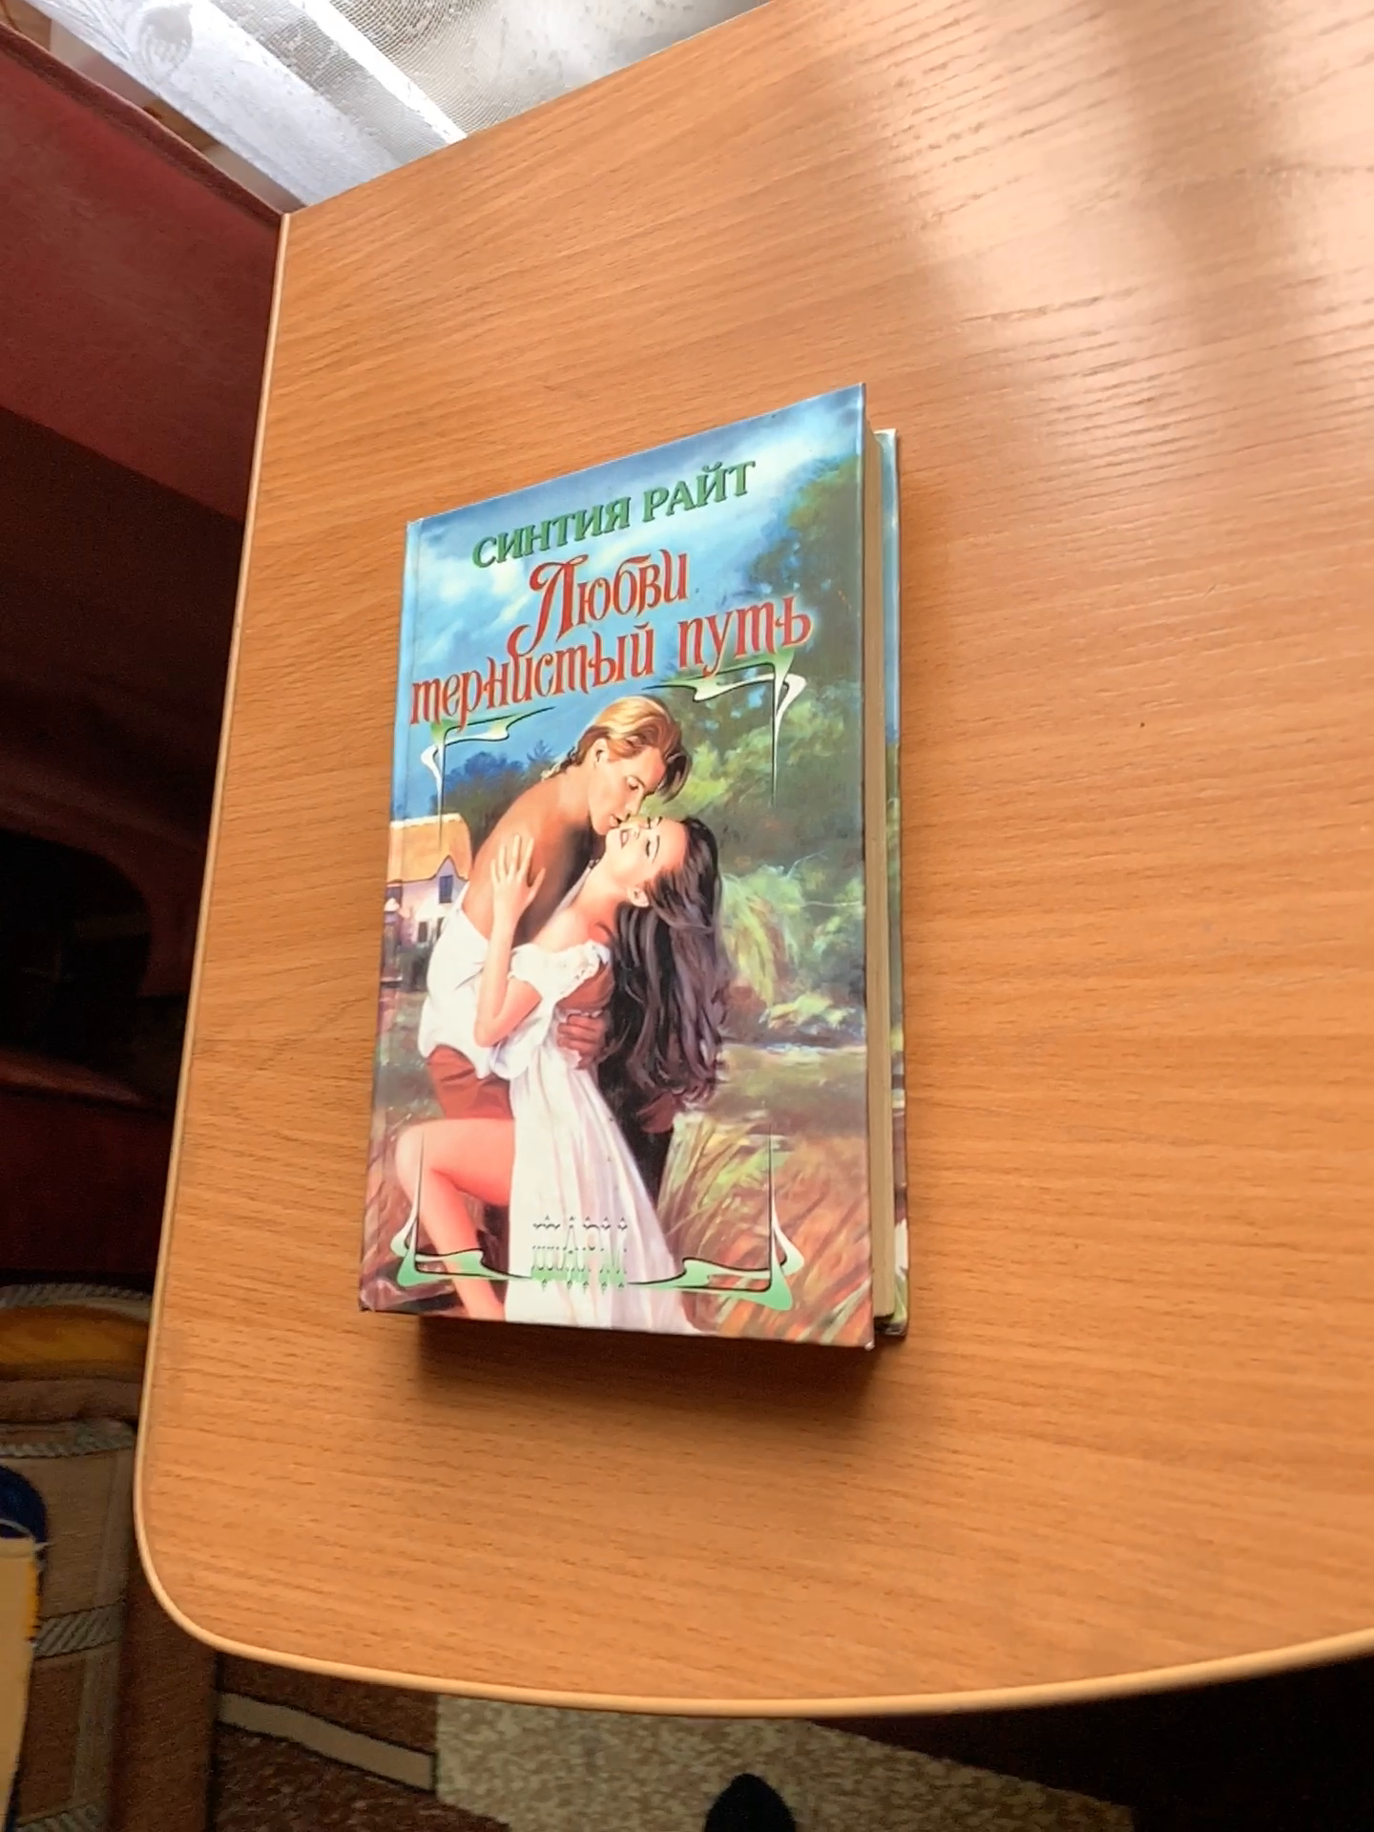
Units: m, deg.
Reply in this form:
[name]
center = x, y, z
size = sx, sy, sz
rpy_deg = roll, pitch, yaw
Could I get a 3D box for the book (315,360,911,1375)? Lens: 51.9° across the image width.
[book]
center = -0.019, -0.009, 0.334
size = 0.141, 0.030, 0.210
rpy_deg = -5, 78, 31
